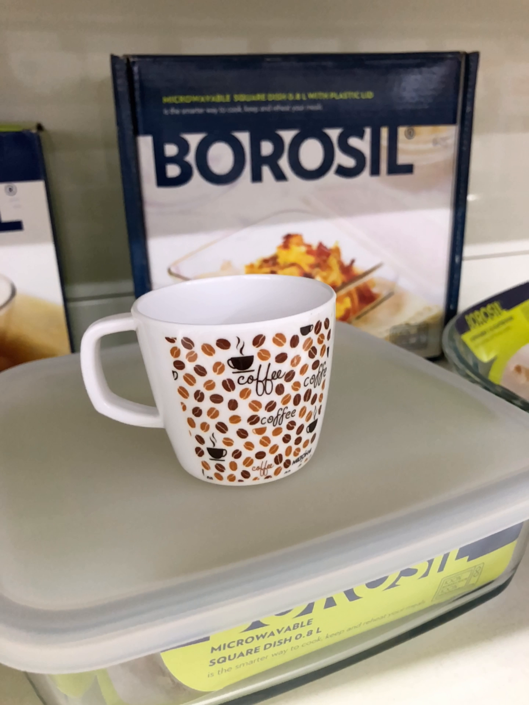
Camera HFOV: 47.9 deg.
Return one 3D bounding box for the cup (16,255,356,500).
[{"bbox_3d":[-0.018,0.003,0.177,0.080,0.050,0.060,-4,17,-1],"label":"cup"}]
